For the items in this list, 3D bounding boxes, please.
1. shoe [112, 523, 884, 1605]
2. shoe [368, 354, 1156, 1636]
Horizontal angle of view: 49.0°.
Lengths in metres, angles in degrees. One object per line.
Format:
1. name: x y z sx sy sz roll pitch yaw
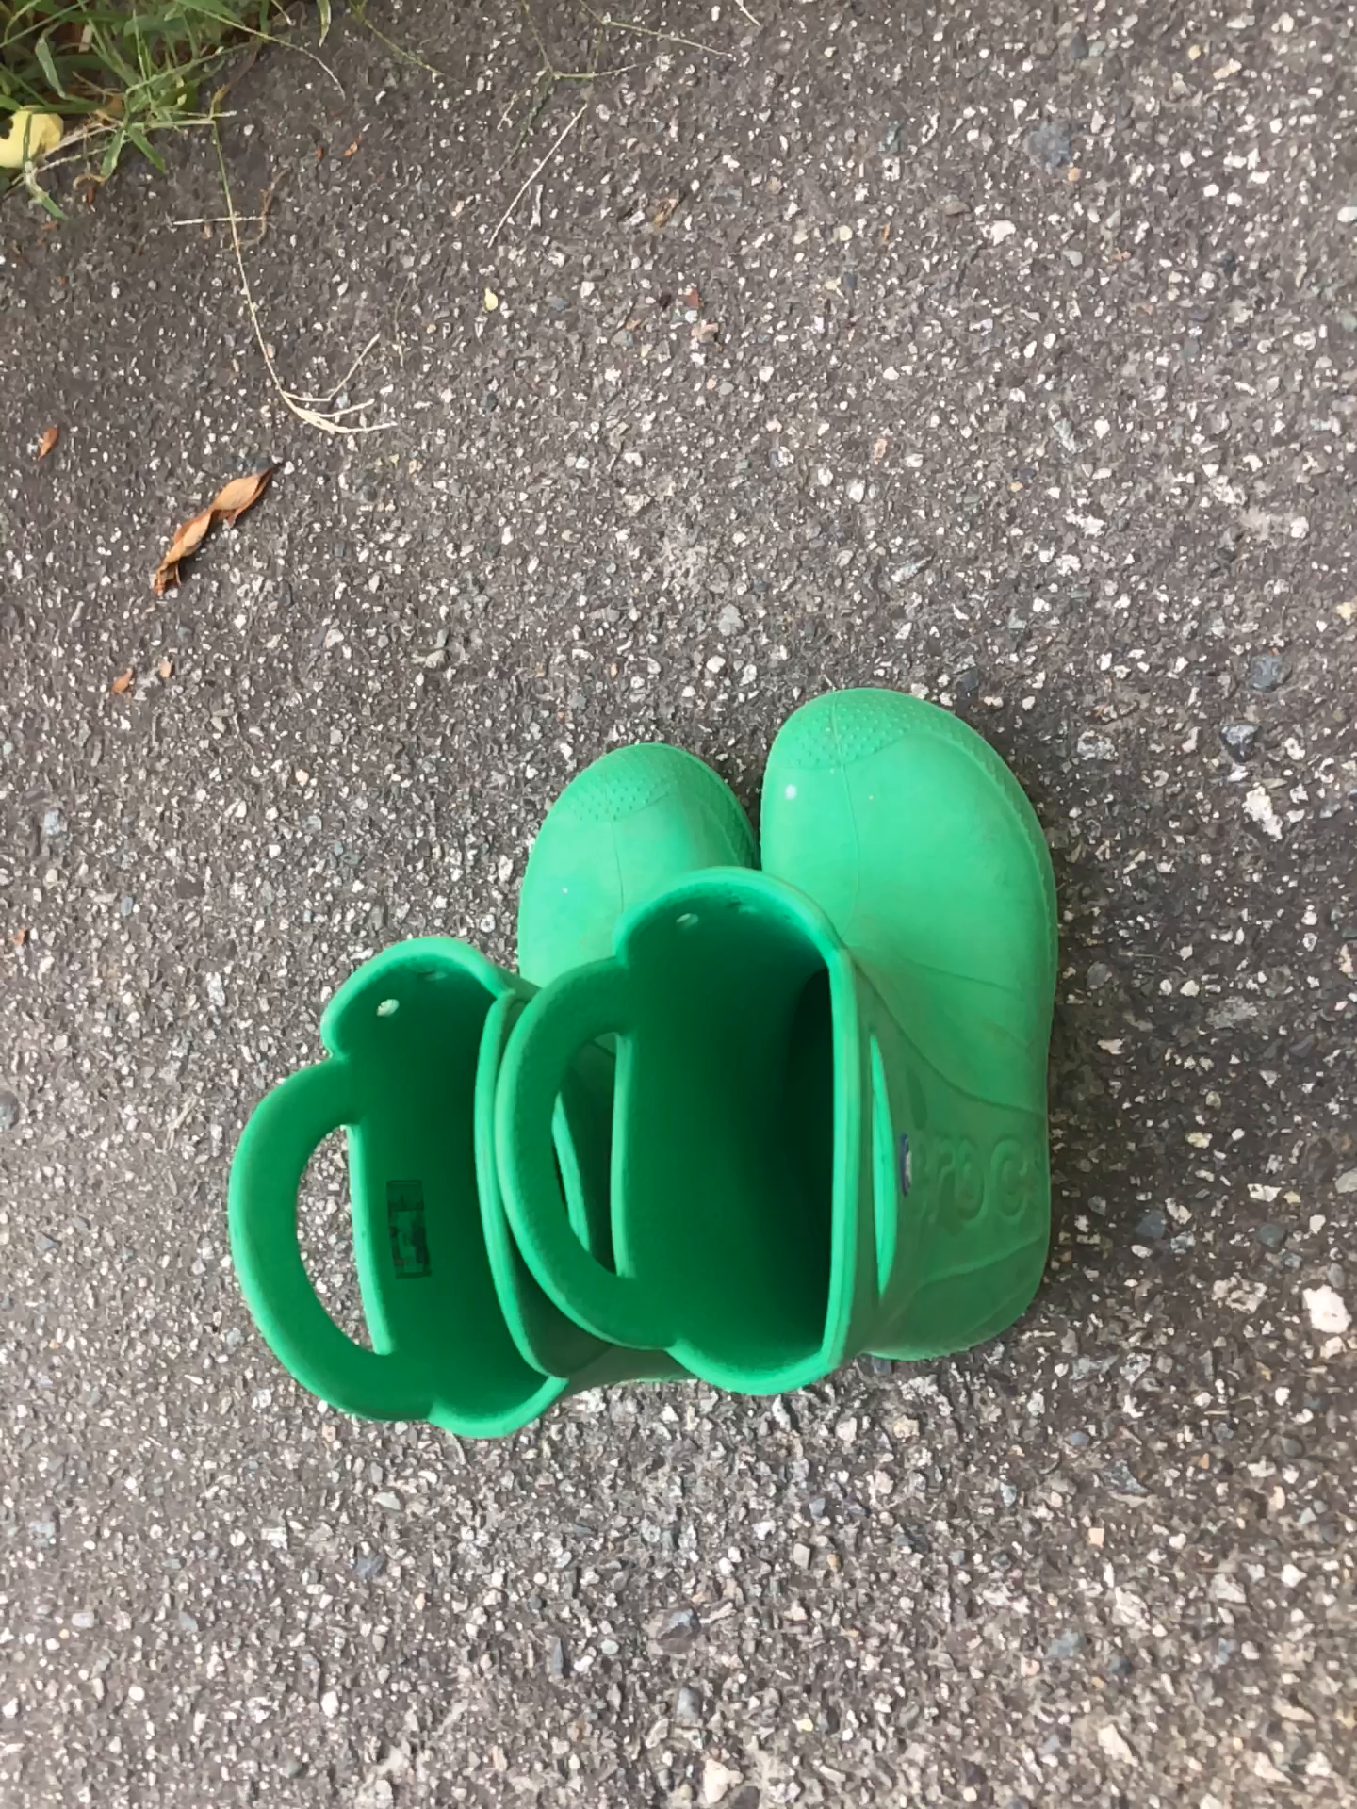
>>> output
1. shoe: -0.040 0.048 0.473 0.110 0.229 0.250 -13 81 21
2. shoe: 0.046 0.029 0.441 0.110 0.259 0.260 -13 81 21
